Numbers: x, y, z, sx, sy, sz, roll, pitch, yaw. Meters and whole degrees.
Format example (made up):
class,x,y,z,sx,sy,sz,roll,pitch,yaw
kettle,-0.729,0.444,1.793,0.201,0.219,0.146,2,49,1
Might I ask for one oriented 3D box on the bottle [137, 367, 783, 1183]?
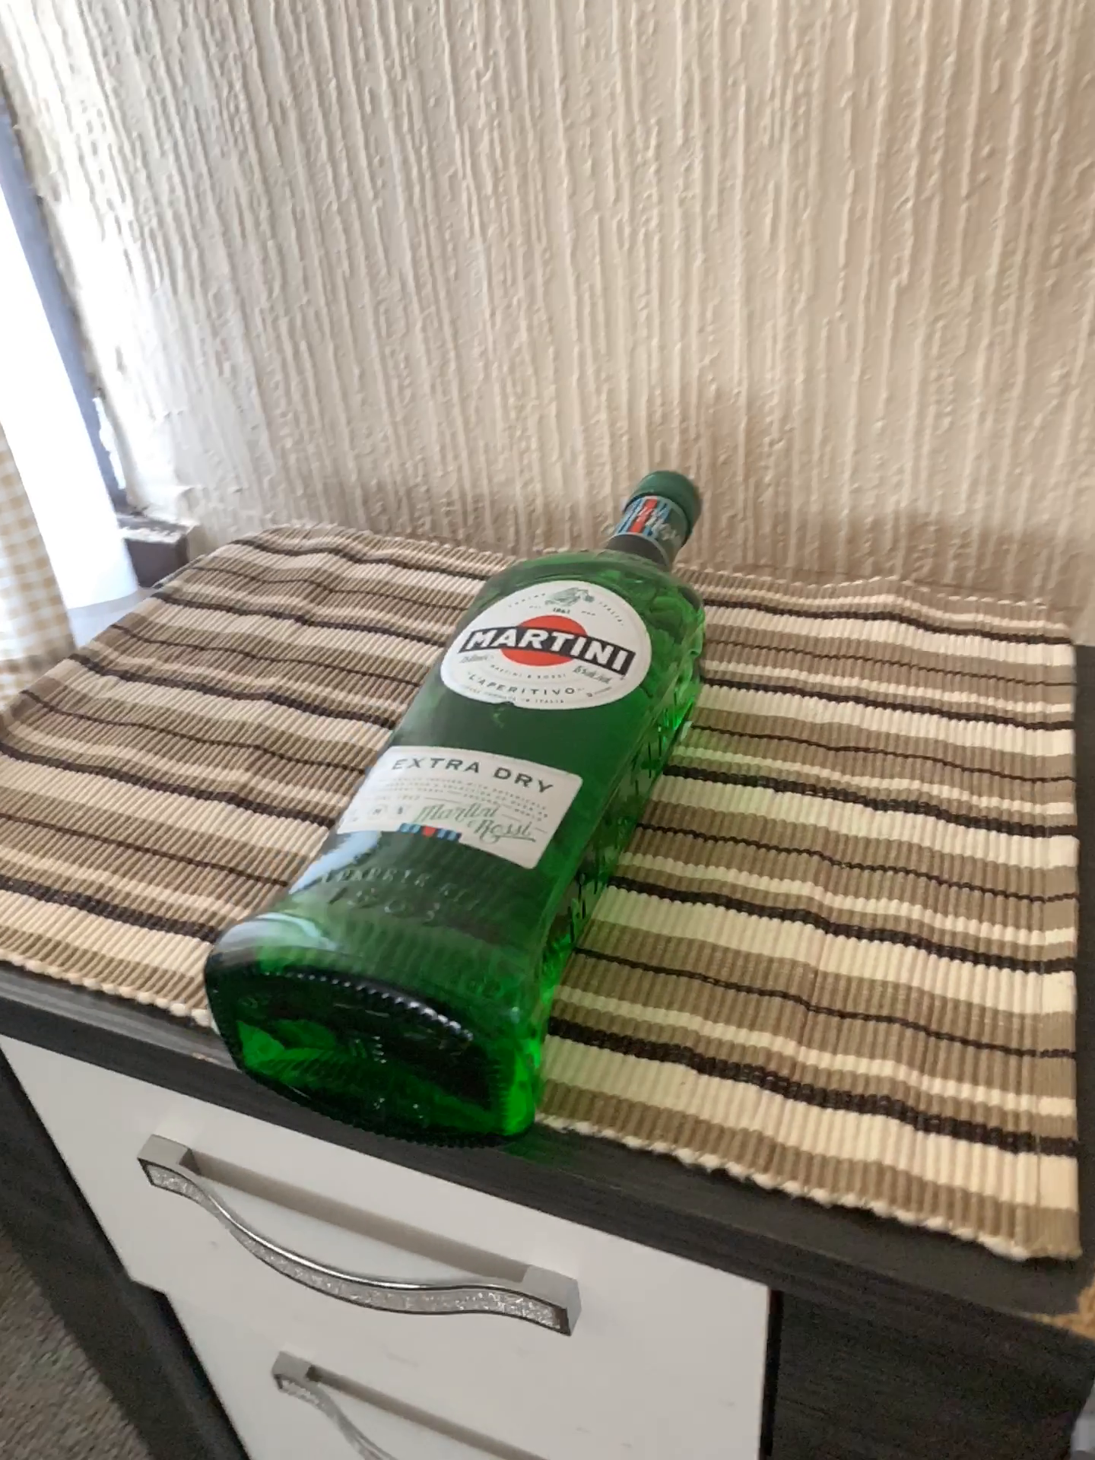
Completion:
class,x,y,z,sx,sy,sz,roll,pitch,yaw
bottle,0.004,-0.024,0.379,0.090,0.069,0.322,8,42,18
